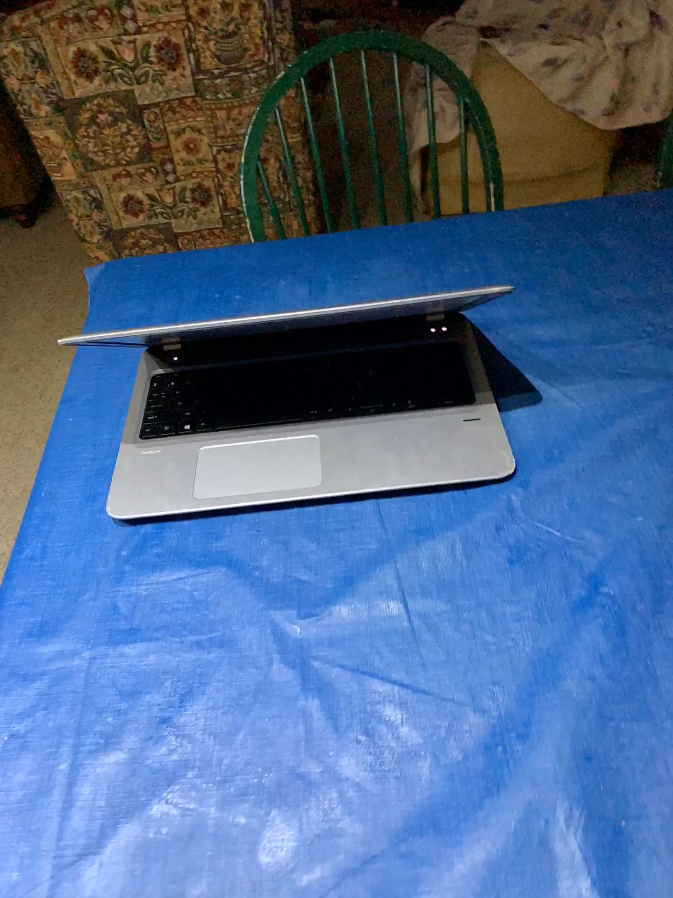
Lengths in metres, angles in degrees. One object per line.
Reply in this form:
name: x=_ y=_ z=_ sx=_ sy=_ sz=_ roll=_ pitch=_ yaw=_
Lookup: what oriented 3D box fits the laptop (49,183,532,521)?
laptop: x=-0.037 y=-0.099 z=0.657 sx=0.365 sy=0.156 sz=0.255 roll=-6 pitch=45 yaw=2
